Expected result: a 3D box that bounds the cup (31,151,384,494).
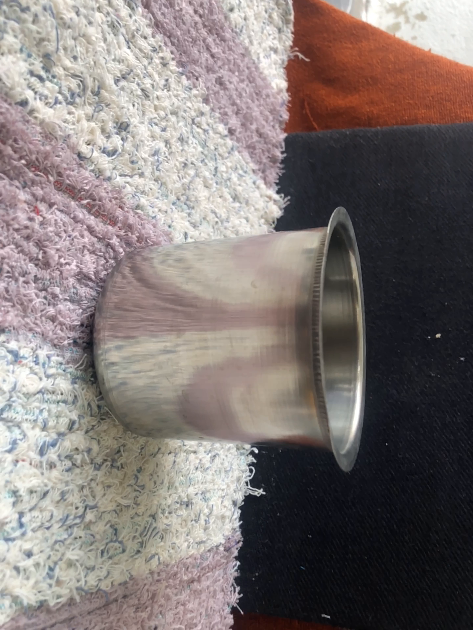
[{"bbox_3d":[0.002,0.011,0.221,0.101,0.099,0.100,0,90,-68],"label":"cup"}]
